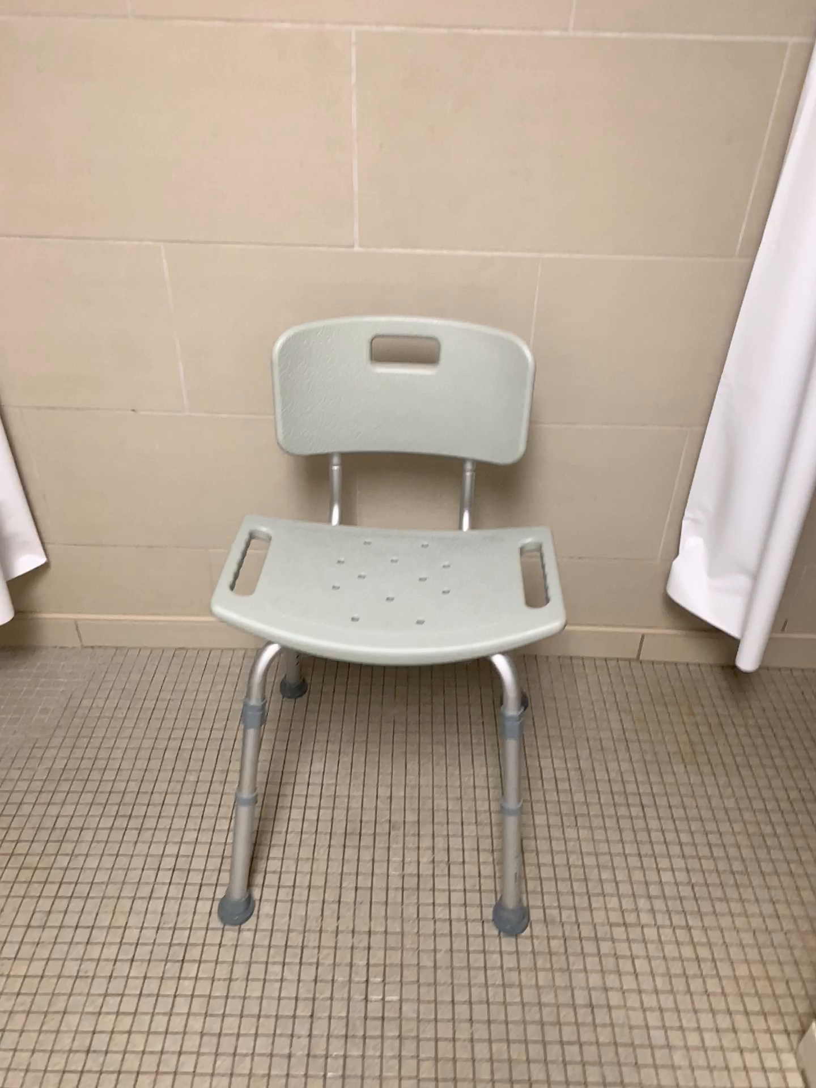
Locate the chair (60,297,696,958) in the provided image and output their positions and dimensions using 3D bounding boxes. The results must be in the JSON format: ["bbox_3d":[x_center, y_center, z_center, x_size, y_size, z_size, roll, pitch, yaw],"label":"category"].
[{"bbox_3d":[-0.015,0.122,1.147,0.549,0.745,0.524,1,38,2],"label":"chair"}]
